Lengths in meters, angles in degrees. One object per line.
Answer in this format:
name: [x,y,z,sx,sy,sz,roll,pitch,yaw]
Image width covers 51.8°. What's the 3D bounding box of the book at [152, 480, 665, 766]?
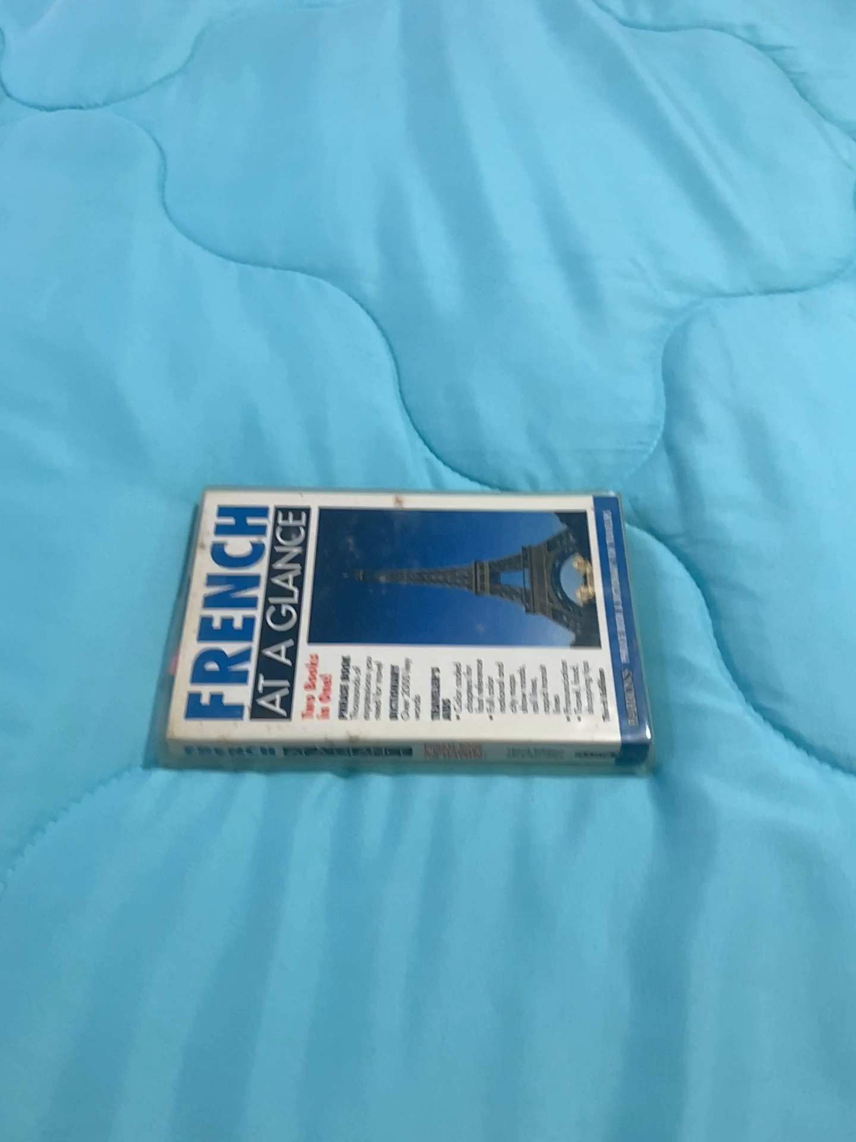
book: [-0.006,0.015,0.297,0.154,0.017,0.099,0,59,-2]
